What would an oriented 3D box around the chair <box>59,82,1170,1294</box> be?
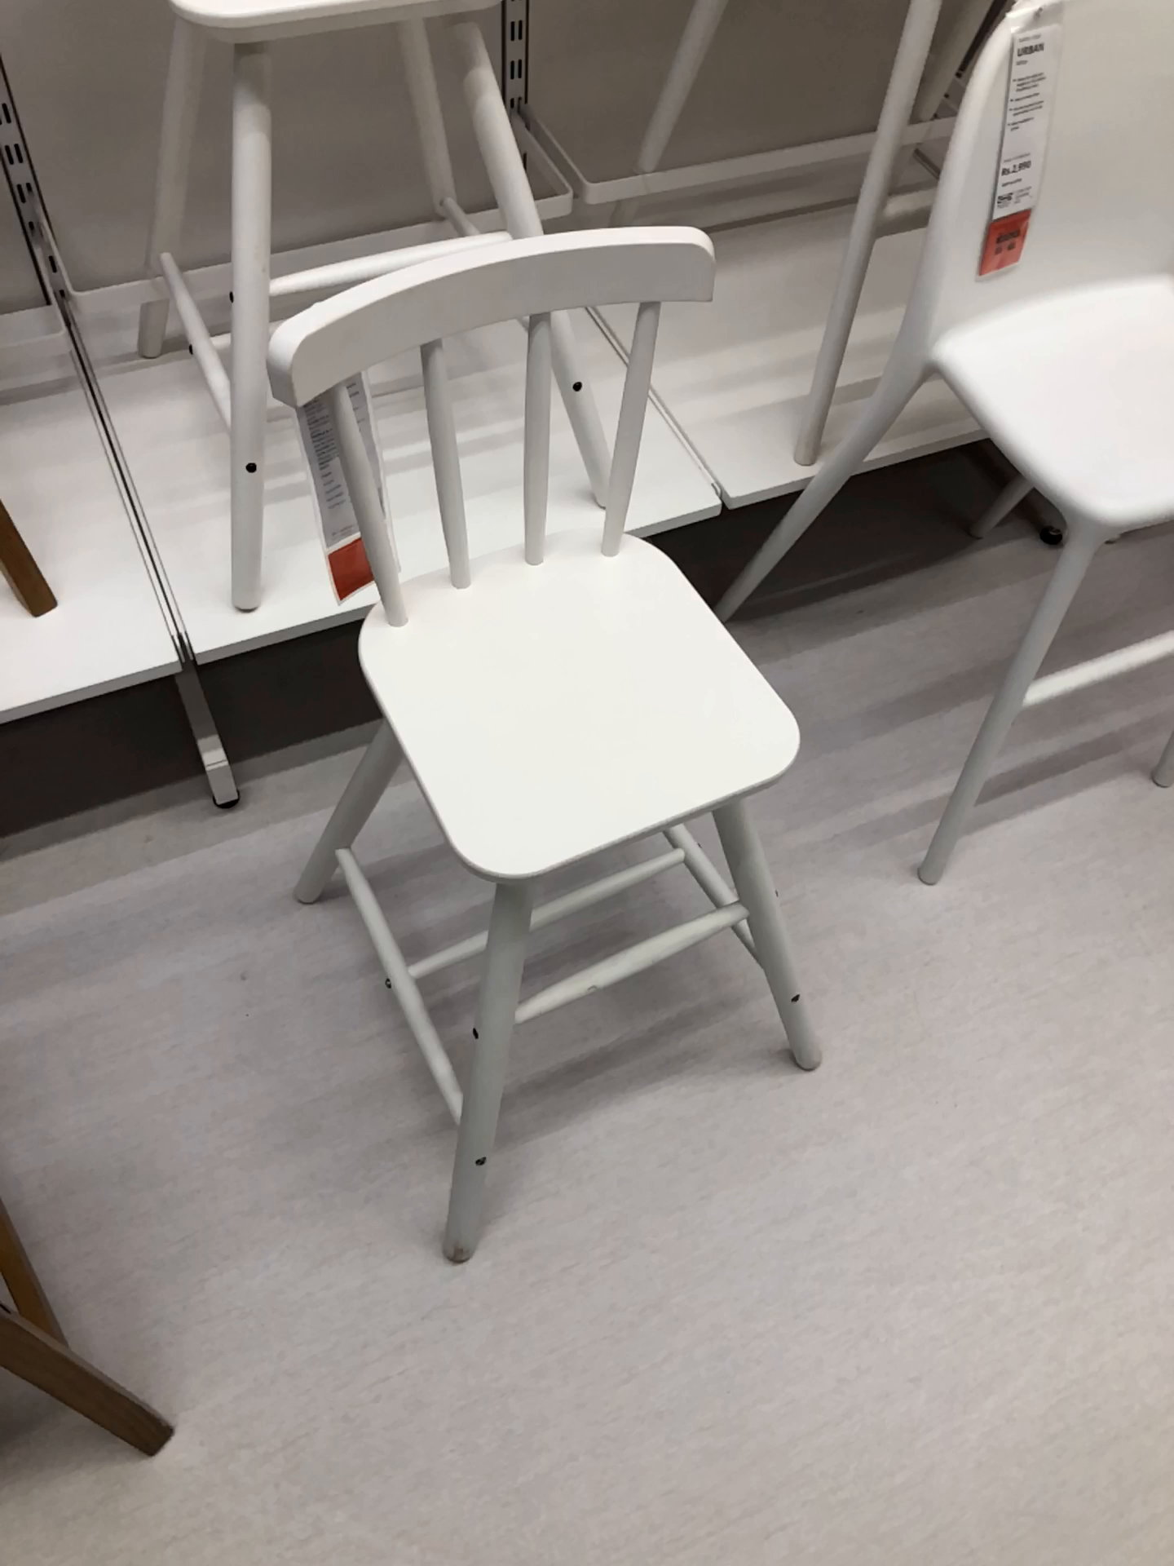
[{"bbox_3d":[-0.026,-0.020,1.081,0.471,0.796,0.502,-22,59,-18],"label":"chair"}]
